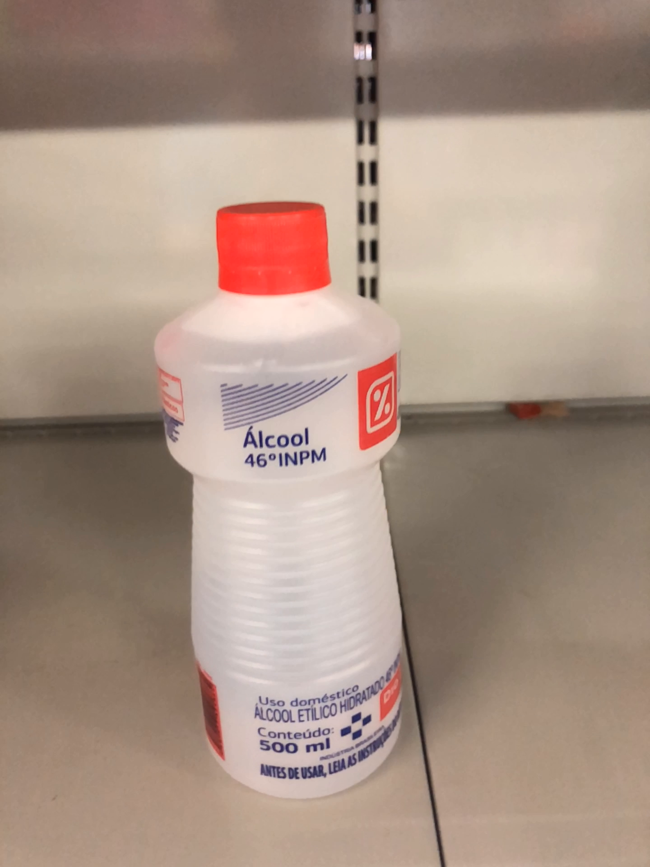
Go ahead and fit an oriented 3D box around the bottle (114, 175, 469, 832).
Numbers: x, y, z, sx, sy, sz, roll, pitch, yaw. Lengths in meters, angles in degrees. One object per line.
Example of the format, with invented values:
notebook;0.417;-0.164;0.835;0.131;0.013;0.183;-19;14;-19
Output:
bottle;-0.011;0.018;0.232;0.080;0.179;0.080;-3;23;1
